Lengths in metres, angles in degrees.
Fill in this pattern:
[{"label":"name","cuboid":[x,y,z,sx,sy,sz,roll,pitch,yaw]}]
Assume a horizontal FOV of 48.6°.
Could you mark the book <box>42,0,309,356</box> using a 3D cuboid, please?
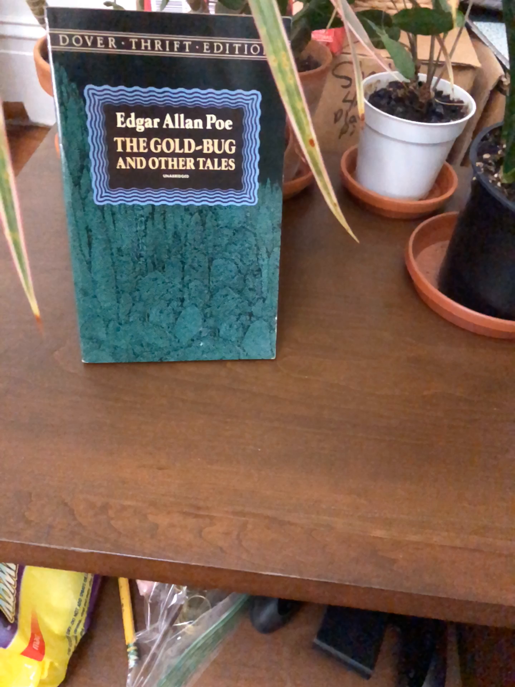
[{"label":"book","cuboid":[-0.045,-0.093,0.353,0.140,0.209,0.020,-1,24,-7]}]
